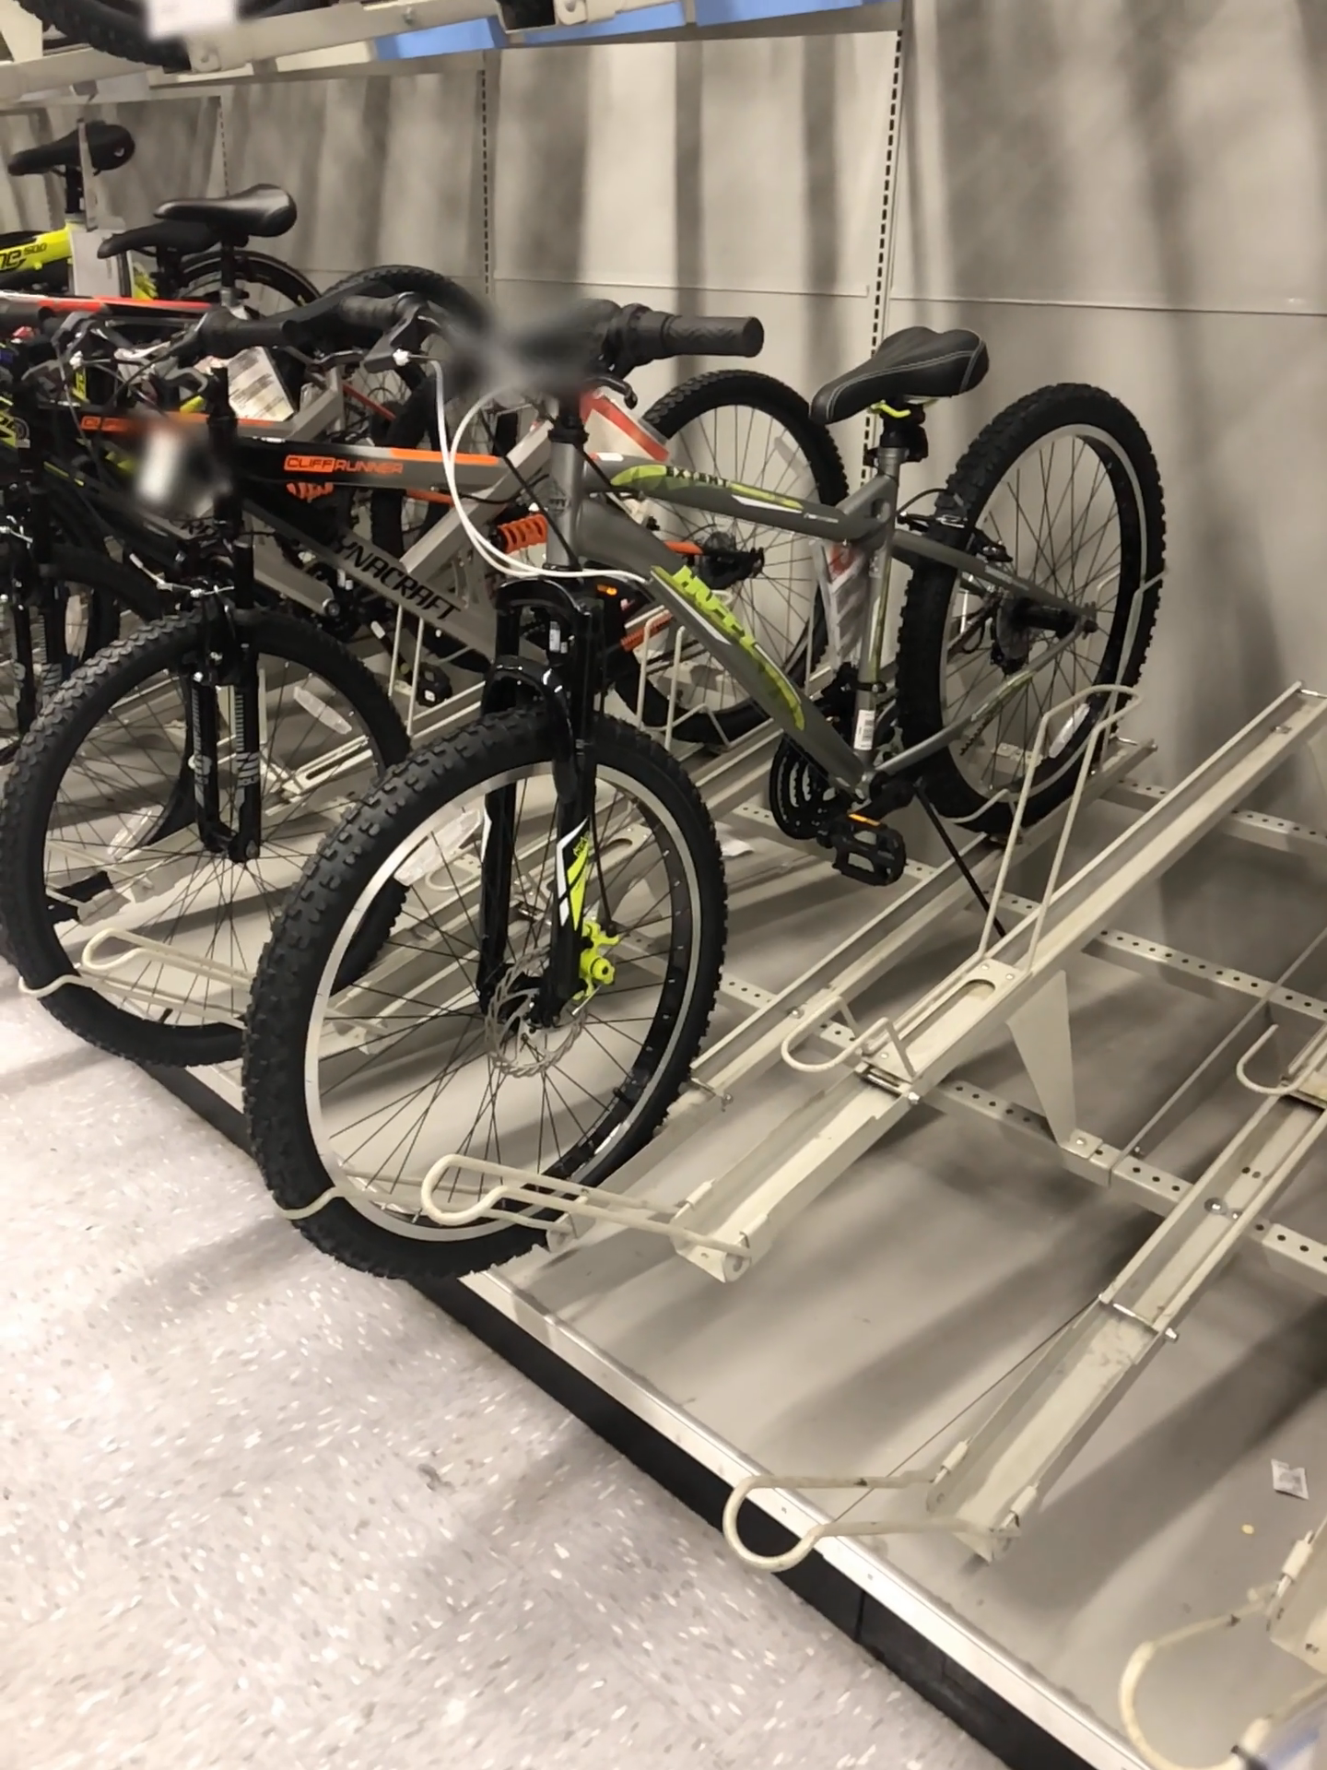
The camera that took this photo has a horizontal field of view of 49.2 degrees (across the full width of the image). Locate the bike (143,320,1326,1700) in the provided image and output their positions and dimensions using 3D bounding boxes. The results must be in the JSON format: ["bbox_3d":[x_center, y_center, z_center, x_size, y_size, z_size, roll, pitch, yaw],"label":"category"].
[{"bbox_3d":[0.258,-0.093,1.873,1.720,0.729,0.609,-31,37,-34],"label":"bike"}]
